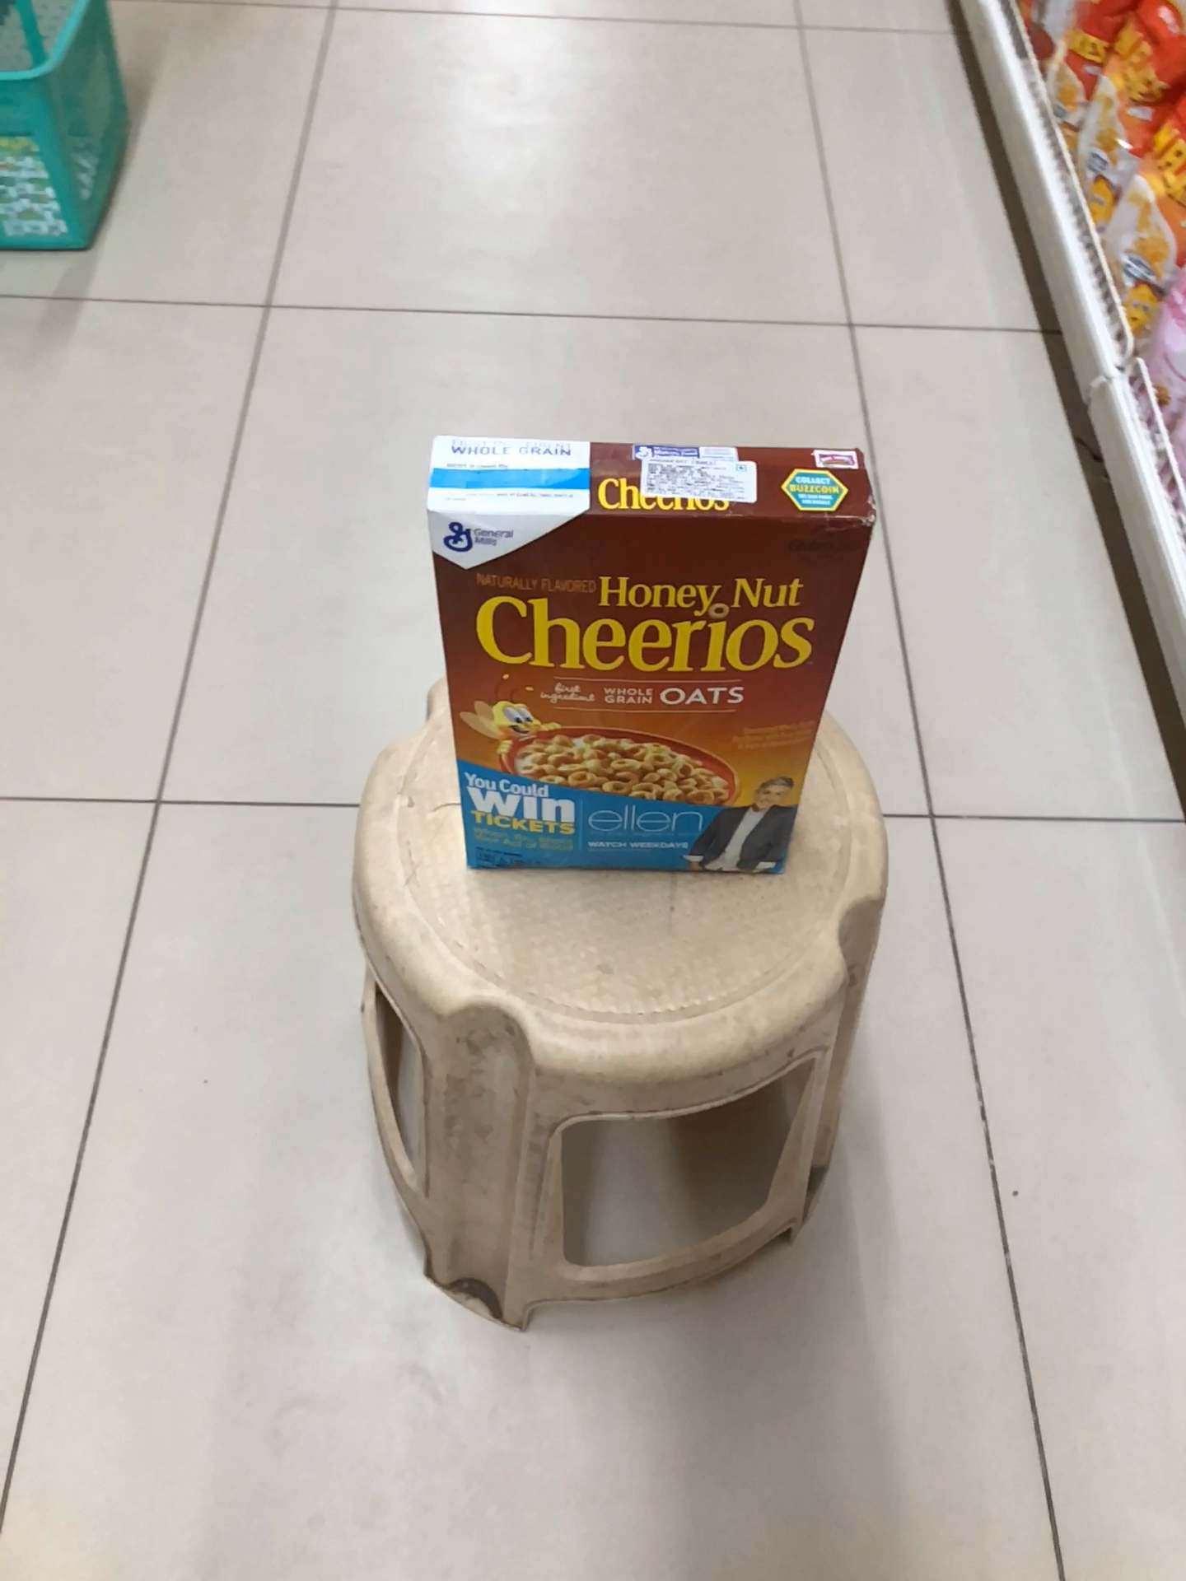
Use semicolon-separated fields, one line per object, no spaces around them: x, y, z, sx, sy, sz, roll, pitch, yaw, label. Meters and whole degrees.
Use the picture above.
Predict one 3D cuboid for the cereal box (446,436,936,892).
0.033;-0.043;0.634;0.190;0.279;0.050;2;56;-2;cereal box
